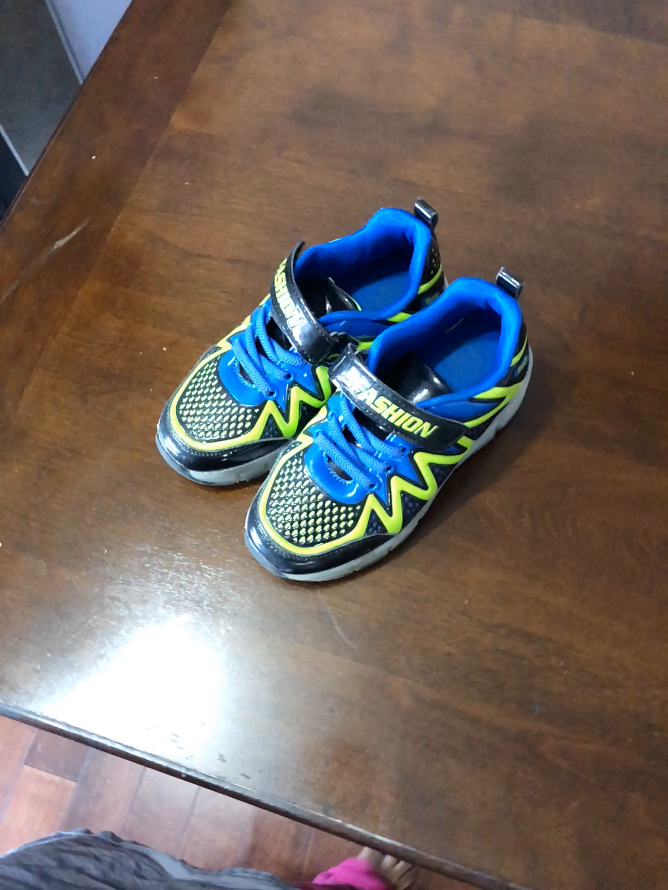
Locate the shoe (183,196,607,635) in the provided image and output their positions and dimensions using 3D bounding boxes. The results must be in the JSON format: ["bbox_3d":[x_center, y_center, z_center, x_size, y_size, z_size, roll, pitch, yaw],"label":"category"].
[{"bbox_3d":[0.039,-0.014,0.438,0.090,0.120,0.230,40,74,16],"label":"shoe"}]

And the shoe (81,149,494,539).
[{"bbox_3d":[-0.022,-0.059,0.463,0.210,0.120,0.100,-36,71,-12],"label":"shoe"}]
